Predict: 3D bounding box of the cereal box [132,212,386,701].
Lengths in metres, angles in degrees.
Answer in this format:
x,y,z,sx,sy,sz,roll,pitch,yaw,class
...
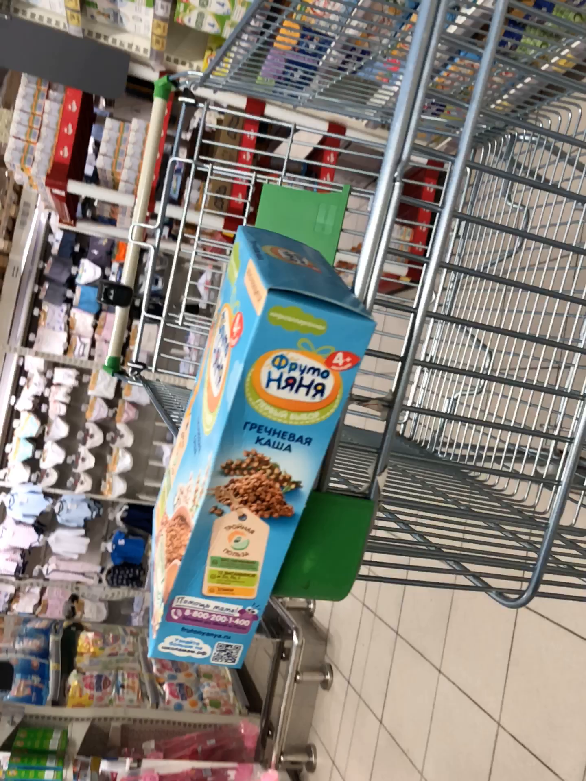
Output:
x,y,z,sx,sy,sz,roll,pitch,yaw,class
-0.033,0.027,0.347,0.150,0.050,0.210,-111,38,-63,cereal box
